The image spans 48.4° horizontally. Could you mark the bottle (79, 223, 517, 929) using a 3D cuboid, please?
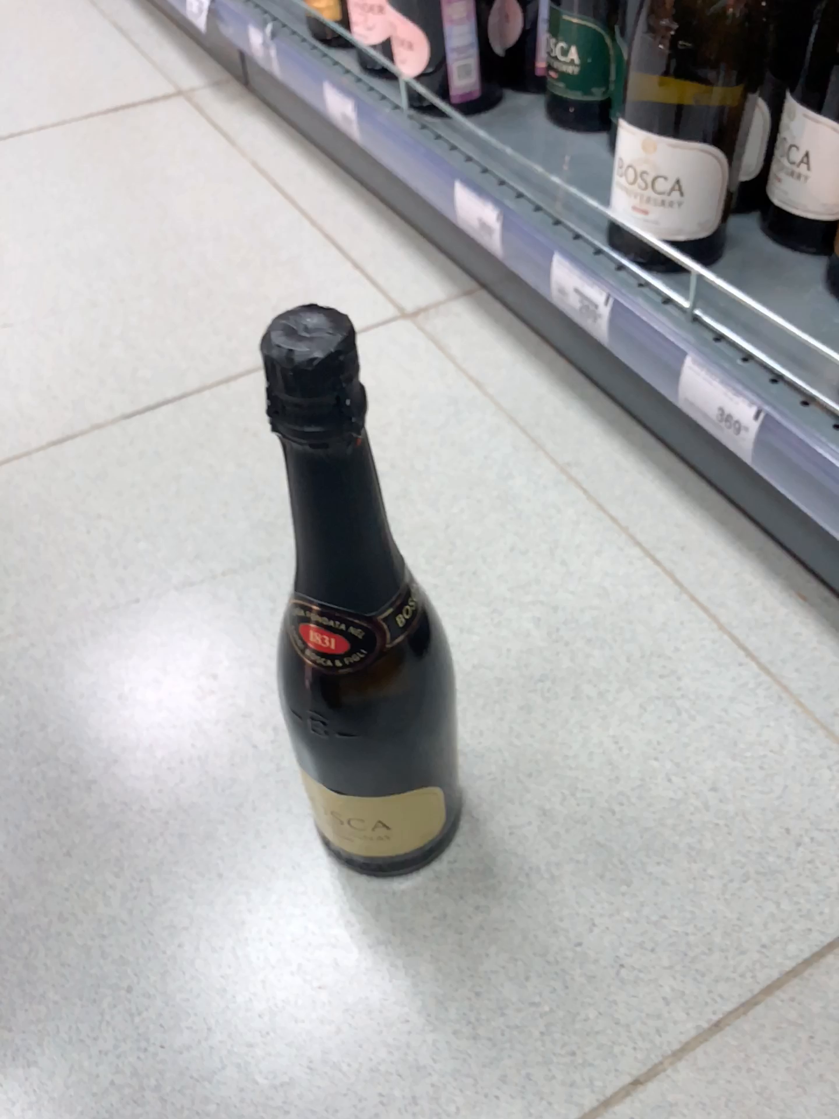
[{"bbox_3d":[-0.028,0.033,0.401,0.100,0.311,0.090,26,54,25],"label":"bottle"}]
